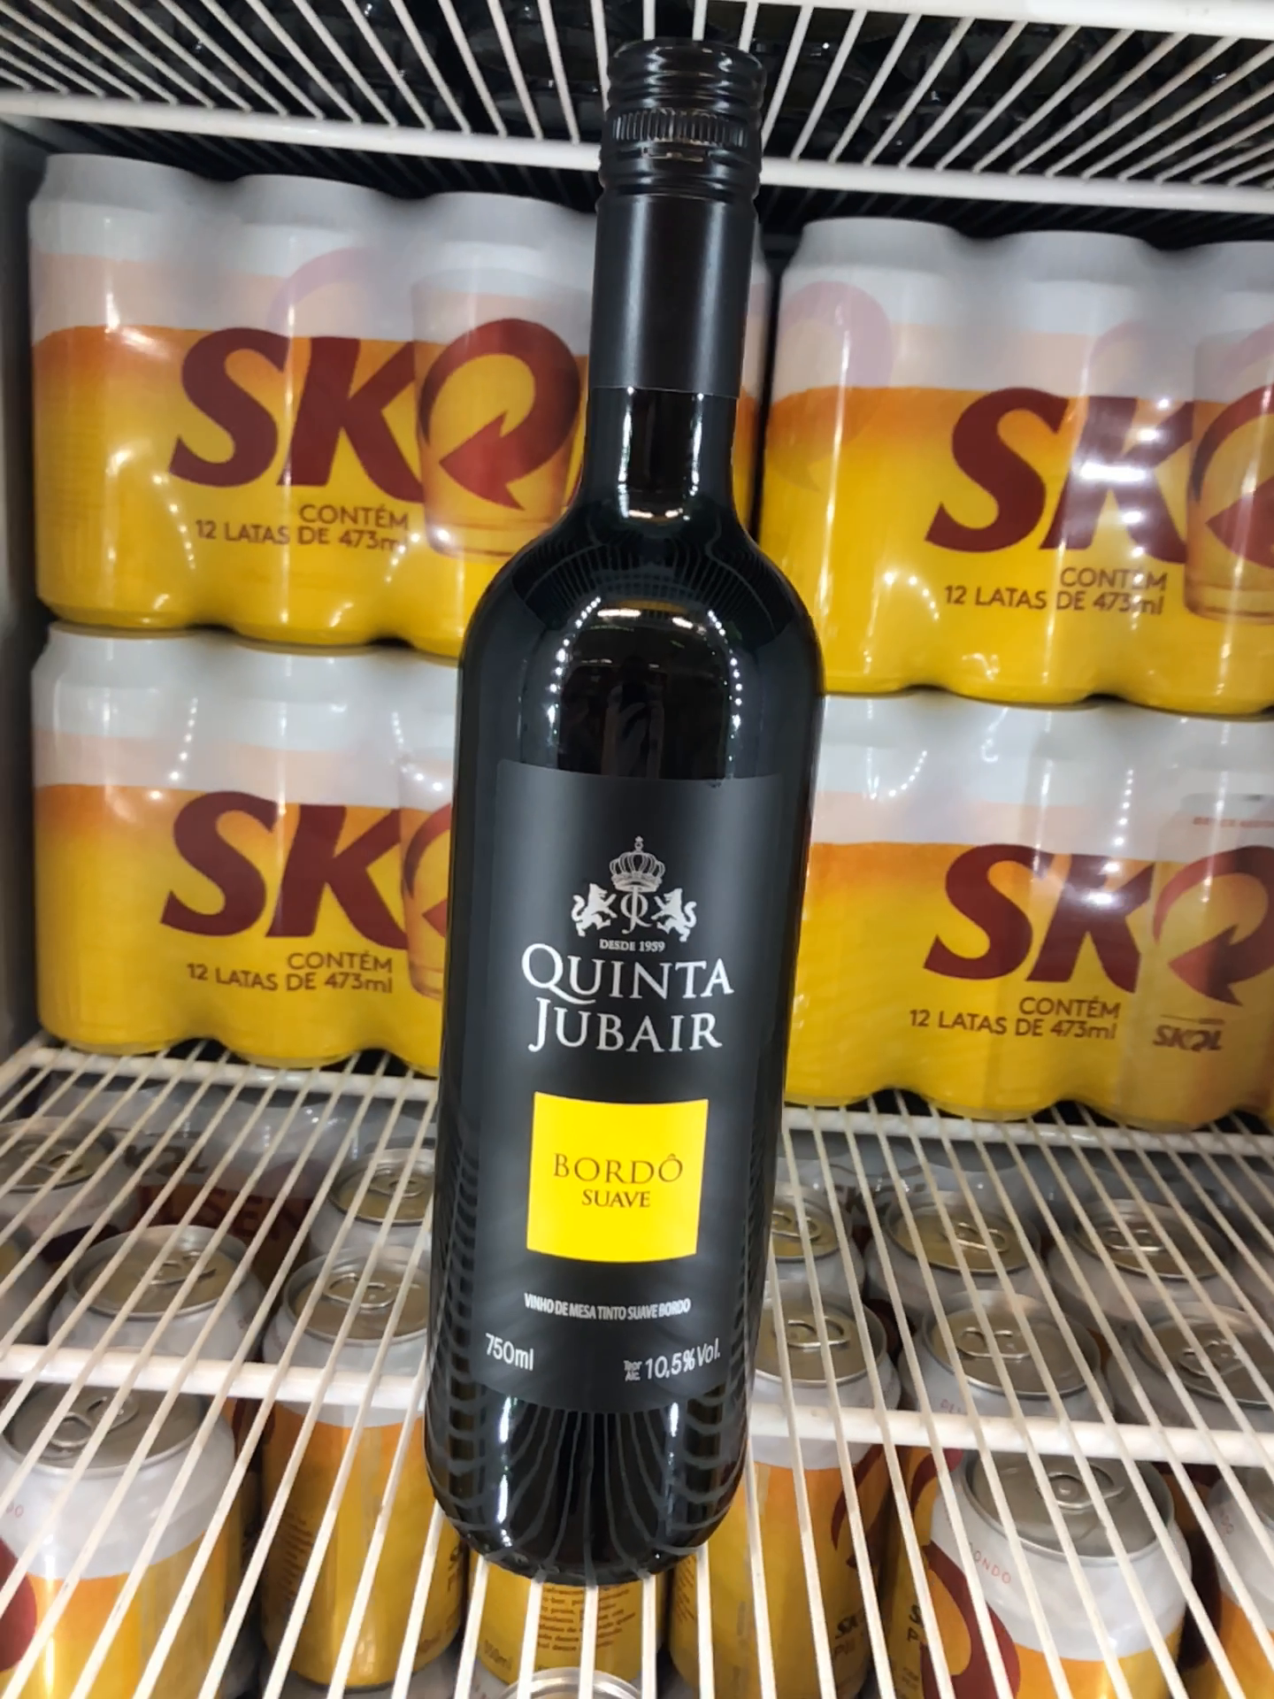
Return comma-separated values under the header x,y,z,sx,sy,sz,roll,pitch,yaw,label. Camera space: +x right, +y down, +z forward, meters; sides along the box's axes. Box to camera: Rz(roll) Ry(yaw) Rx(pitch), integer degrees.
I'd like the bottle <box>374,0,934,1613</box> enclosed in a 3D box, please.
x,y,z,sx,sy,sz,roll,pitch,yaw,label
-0.003,-0.002,0.277,0.080,0.289,0.070,3,13,-1,bottle
